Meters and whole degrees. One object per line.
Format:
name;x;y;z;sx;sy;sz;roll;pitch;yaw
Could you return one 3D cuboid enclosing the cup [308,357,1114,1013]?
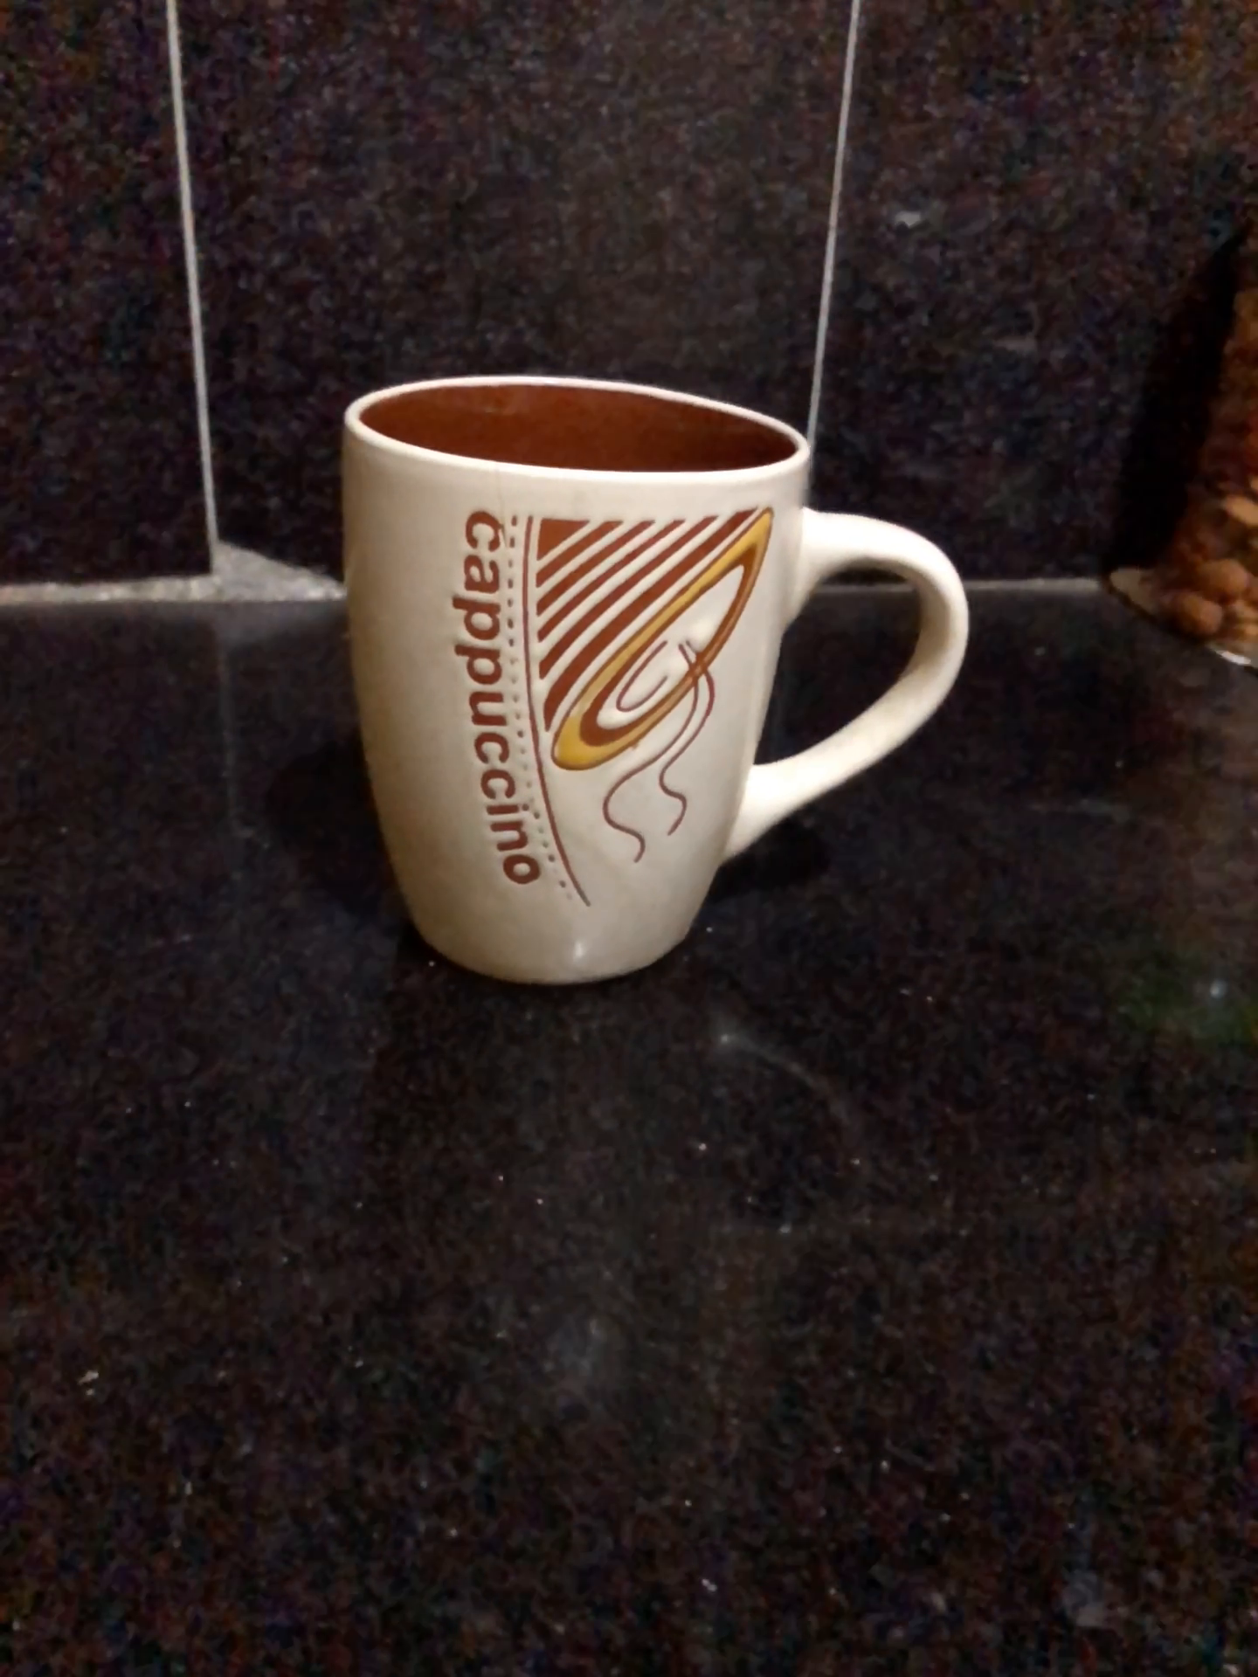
cup;0.005;-0.036;0.267;0.120;0.089;0.090;-4;28;-15
